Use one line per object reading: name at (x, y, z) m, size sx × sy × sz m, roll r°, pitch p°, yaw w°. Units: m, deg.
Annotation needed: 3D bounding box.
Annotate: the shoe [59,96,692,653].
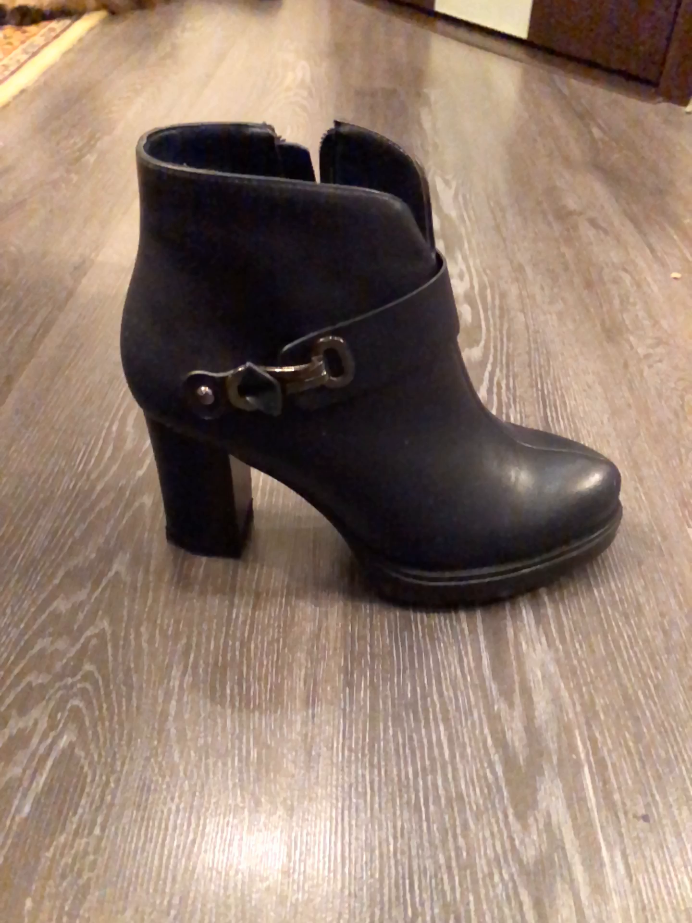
shoe at (0.025, -0.035, 0.320) m, size 0.220 × 0.179 × 0.101 m, roll 8°, pitch 40°, yaw 7°
